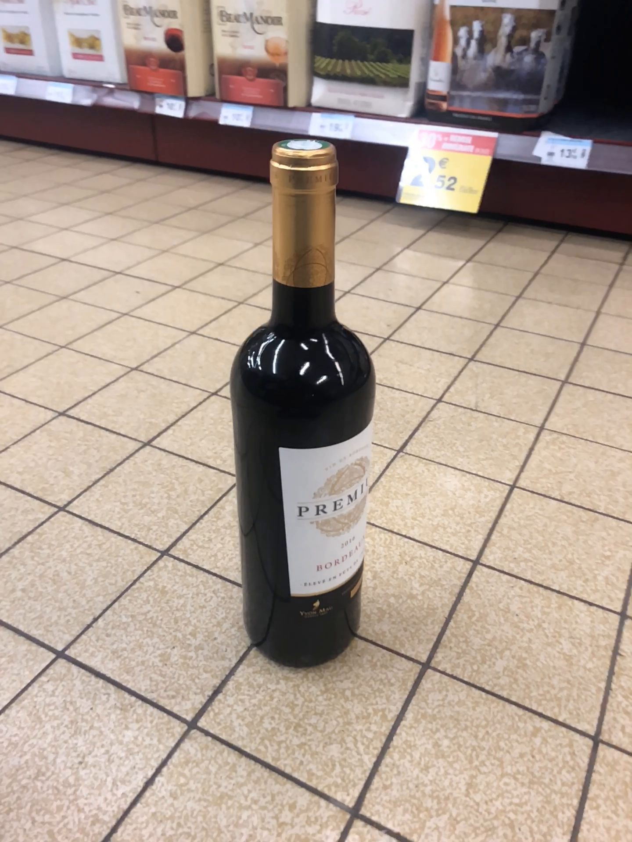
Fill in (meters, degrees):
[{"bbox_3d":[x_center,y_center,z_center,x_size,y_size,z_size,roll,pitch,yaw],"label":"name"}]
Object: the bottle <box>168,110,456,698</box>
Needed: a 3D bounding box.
[{"bbox_3d":[-0.004,0.002,0.367,0.080,0.288,0.090,28,41,36],"label":"bottle"}]
